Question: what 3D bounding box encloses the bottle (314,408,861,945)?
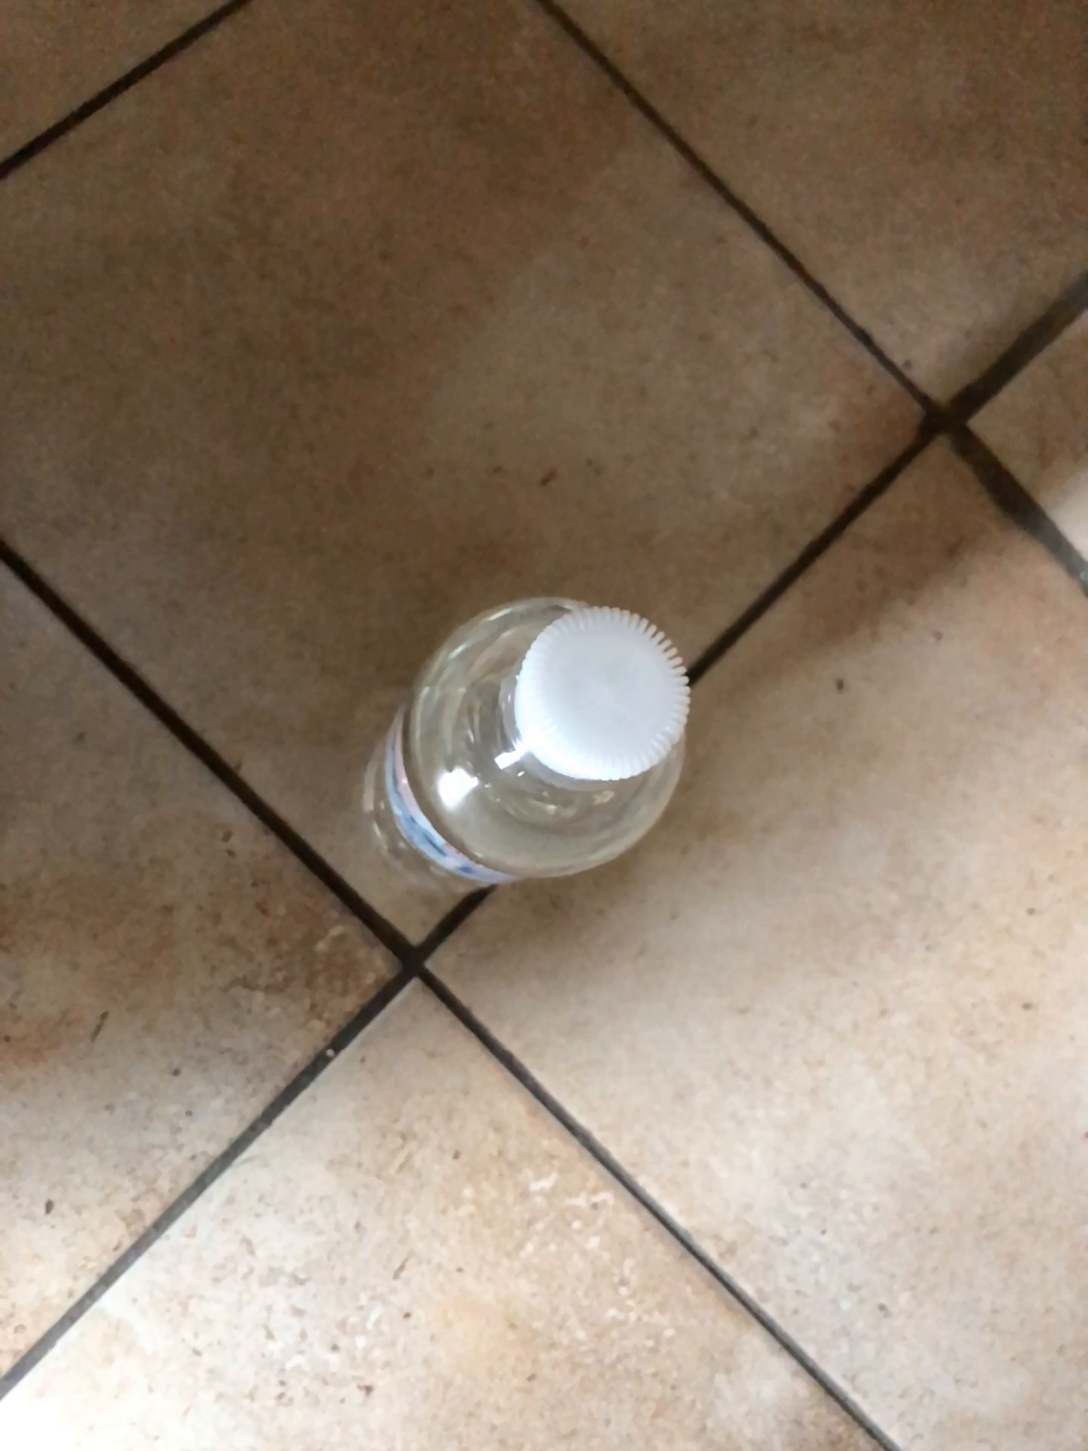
[{"bbox_3d":[-0.009,0.002,0.329,0.080,0.200,0.080,2,81,-11],"label":"bottle"}]
